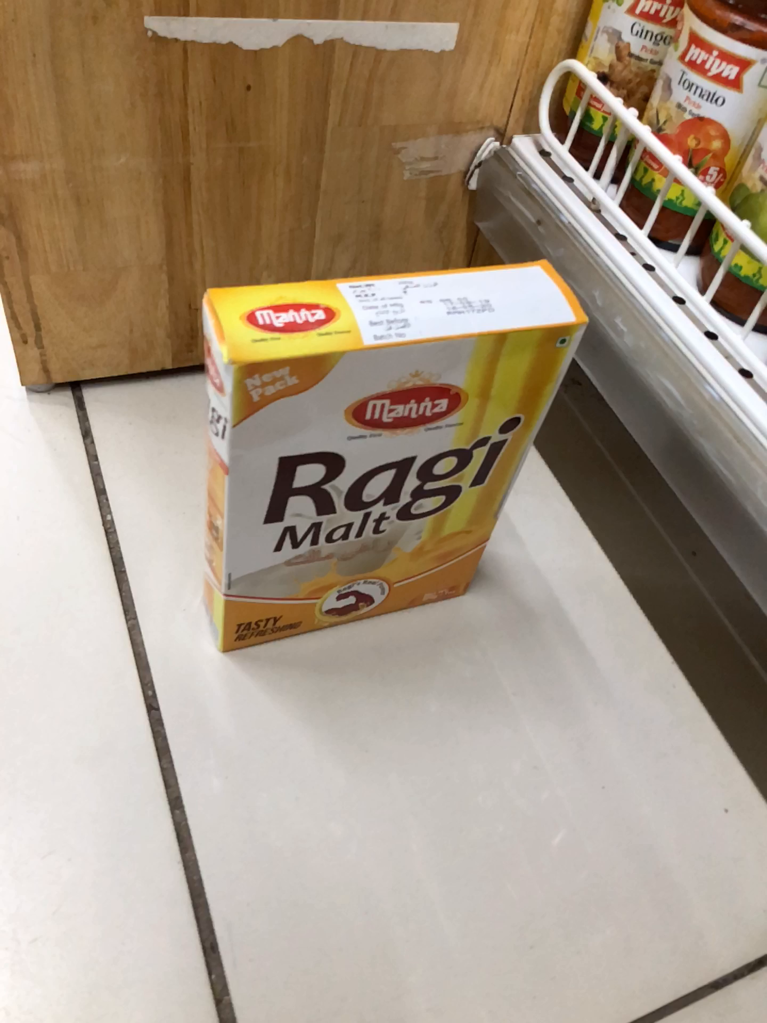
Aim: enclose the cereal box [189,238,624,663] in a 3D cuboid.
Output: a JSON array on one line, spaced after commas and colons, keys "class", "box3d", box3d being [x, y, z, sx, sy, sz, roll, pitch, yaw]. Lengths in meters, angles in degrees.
[{"class": "cereal box", "box3d": [-0.002, -0.017, 0.346, 0.140, 0.179, 0.040, -10, 53, -18]}]
